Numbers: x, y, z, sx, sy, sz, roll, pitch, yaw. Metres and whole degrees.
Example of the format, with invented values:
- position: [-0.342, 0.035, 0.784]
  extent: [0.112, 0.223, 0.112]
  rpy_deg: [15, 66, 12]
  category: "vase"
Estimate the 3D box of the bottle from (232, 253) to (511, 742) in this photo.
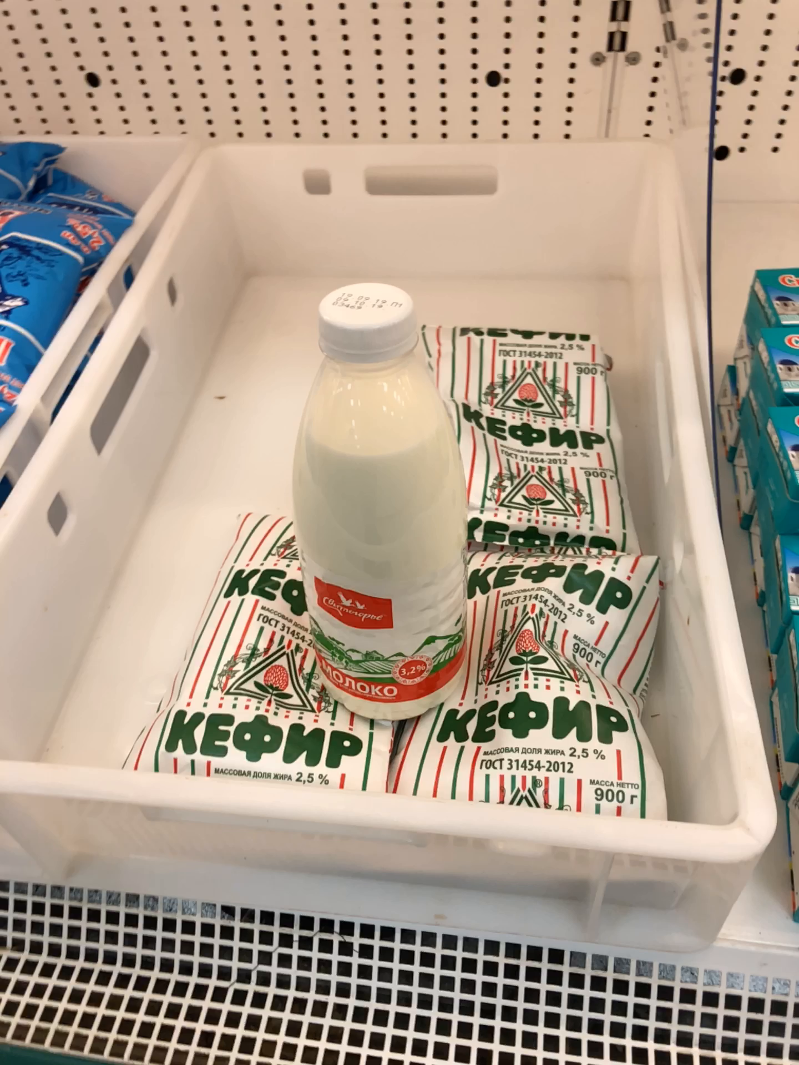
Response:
- position: [-0.005, -0.008, 0.422]
  extent: [0.085, 0.216, 0.085]
  rpy_deg: [-1, 43, 1]
  category: "bottle"
